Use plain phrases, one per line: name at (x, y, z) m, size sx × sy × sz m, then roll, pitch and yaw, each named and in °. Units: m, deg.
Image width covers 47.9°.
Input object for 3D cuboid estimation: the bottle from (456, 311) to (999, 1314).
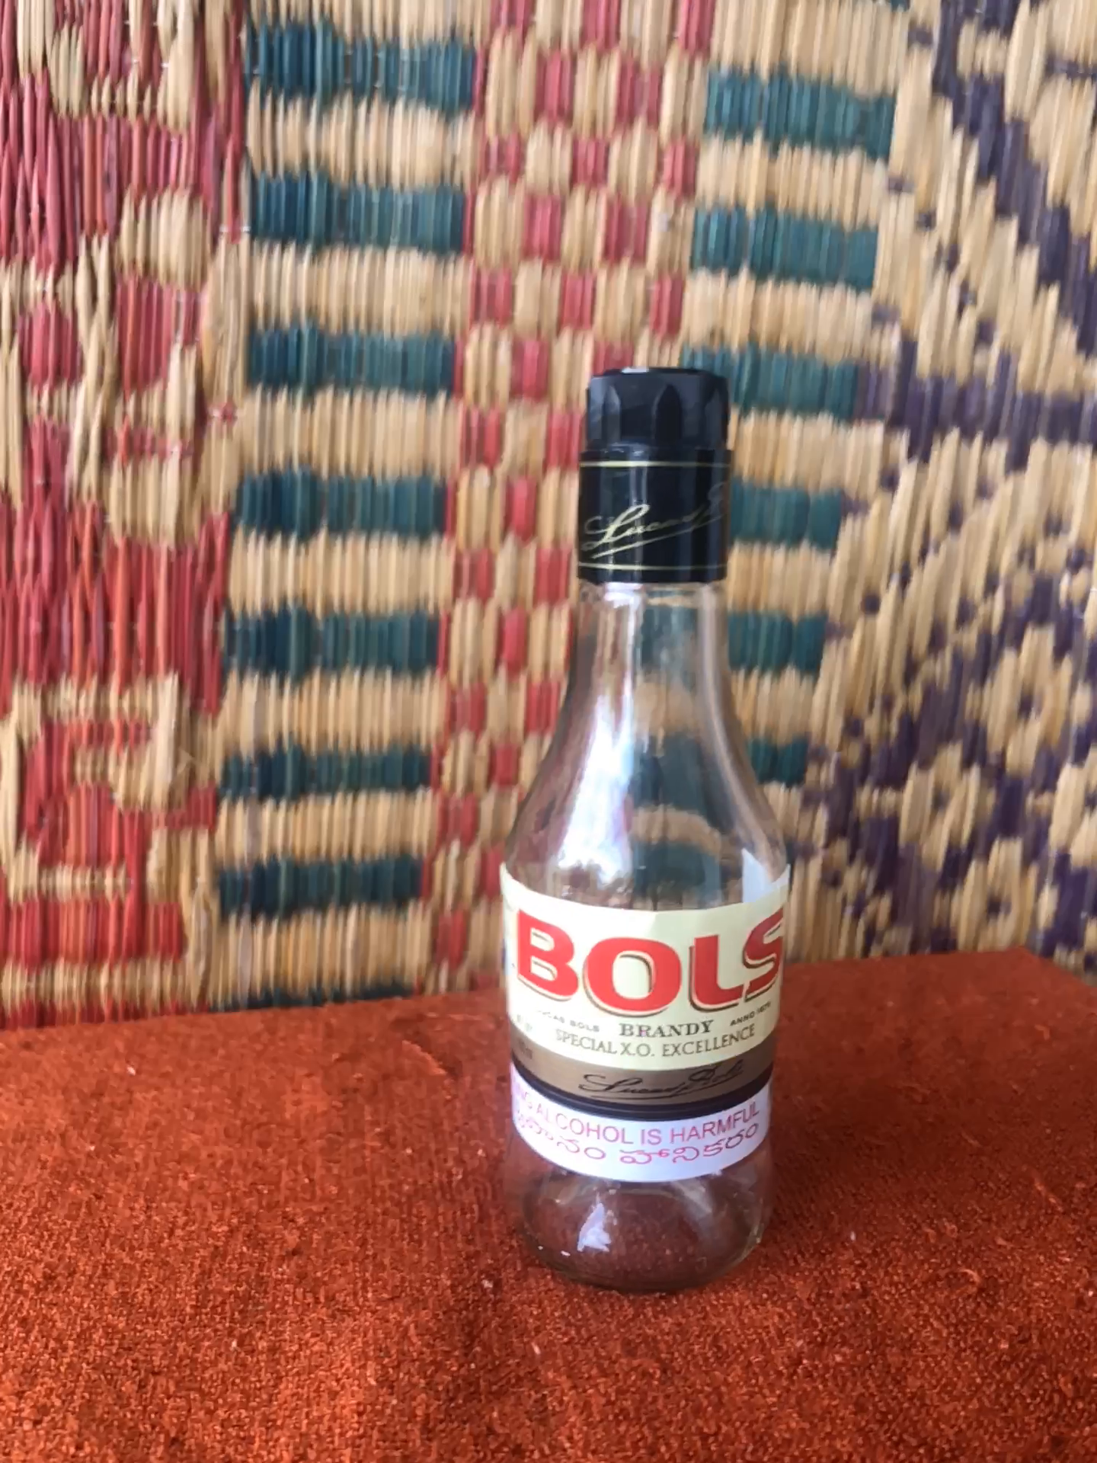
bottle at (0.024, 0.012, 0.223) m, size 0.070 × 0.160 × 0.060 m, roll 0°, pitch 13°, yaw -10°
